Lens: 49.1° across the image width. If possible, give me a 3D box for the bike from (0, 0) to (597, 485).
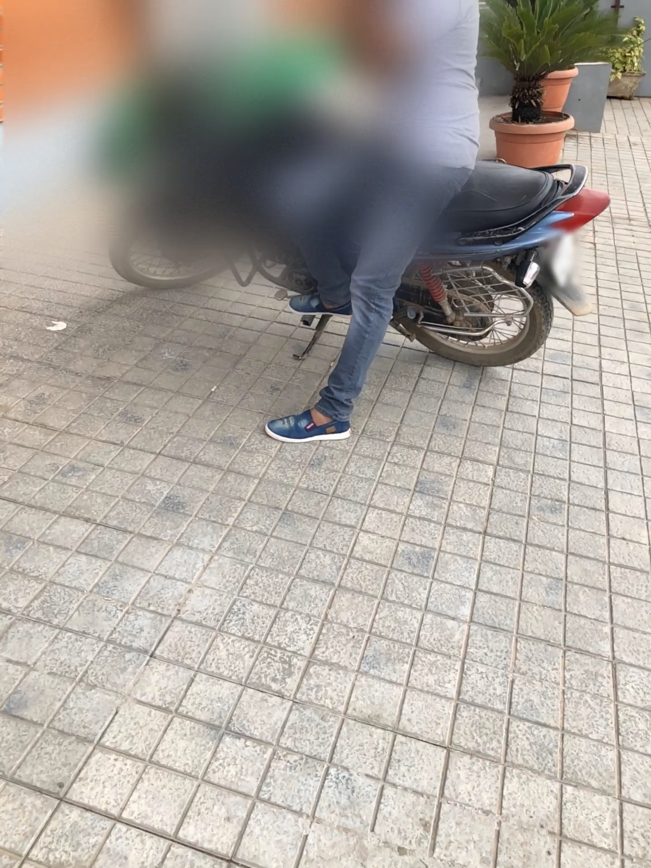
[{"bbox_3d":[-0.180,-0.796,2.407,1.819,1.345,0.817,11,35,15],"label":"bike"}]
